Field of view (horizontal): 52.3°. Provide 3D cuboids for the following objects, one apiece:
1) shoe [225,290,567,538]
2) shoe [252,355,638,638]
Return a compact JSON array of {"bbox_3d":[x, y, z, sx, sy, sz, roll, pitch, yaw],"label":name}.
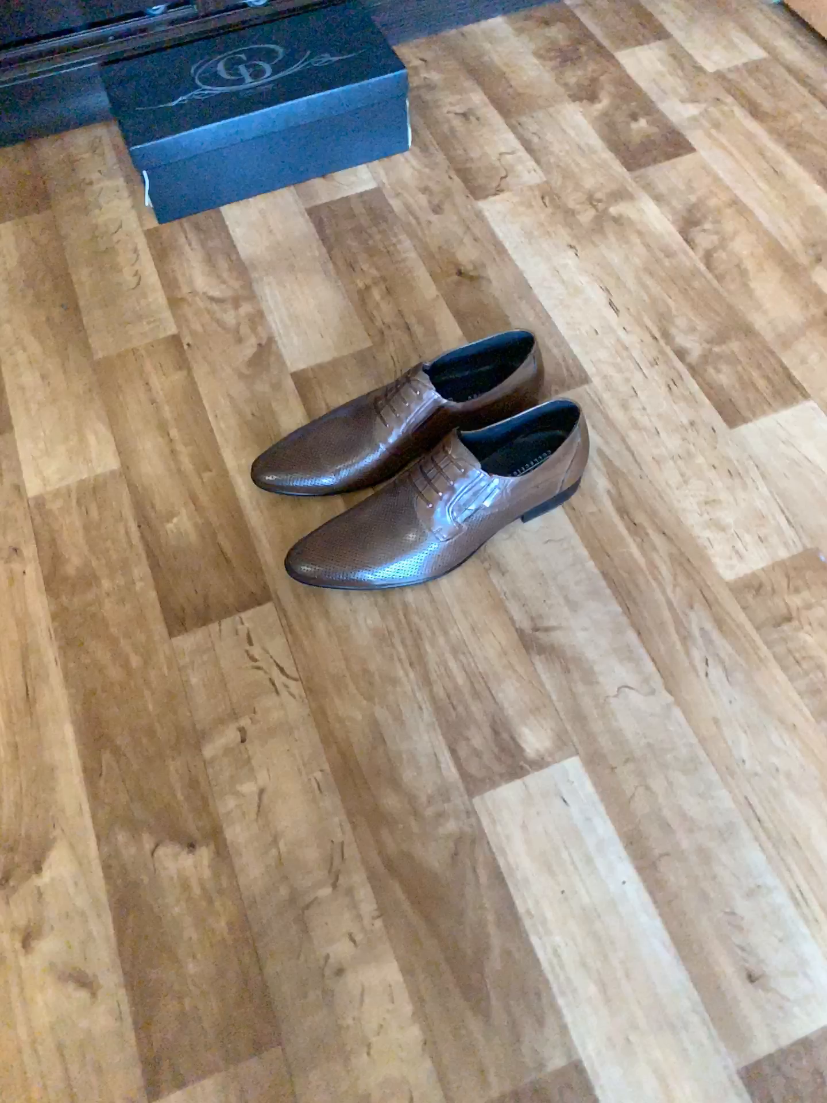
[{"bbox_3d":[-0.014,-0.135,0.830,0.300,0.120,0.100,-20,62,-9],"label":"shoe"},{"bbox_3d":[0.029,-0.051,0.758,0.310,0.100,0.110,-23,63,-10],"label":"shoe"}]
